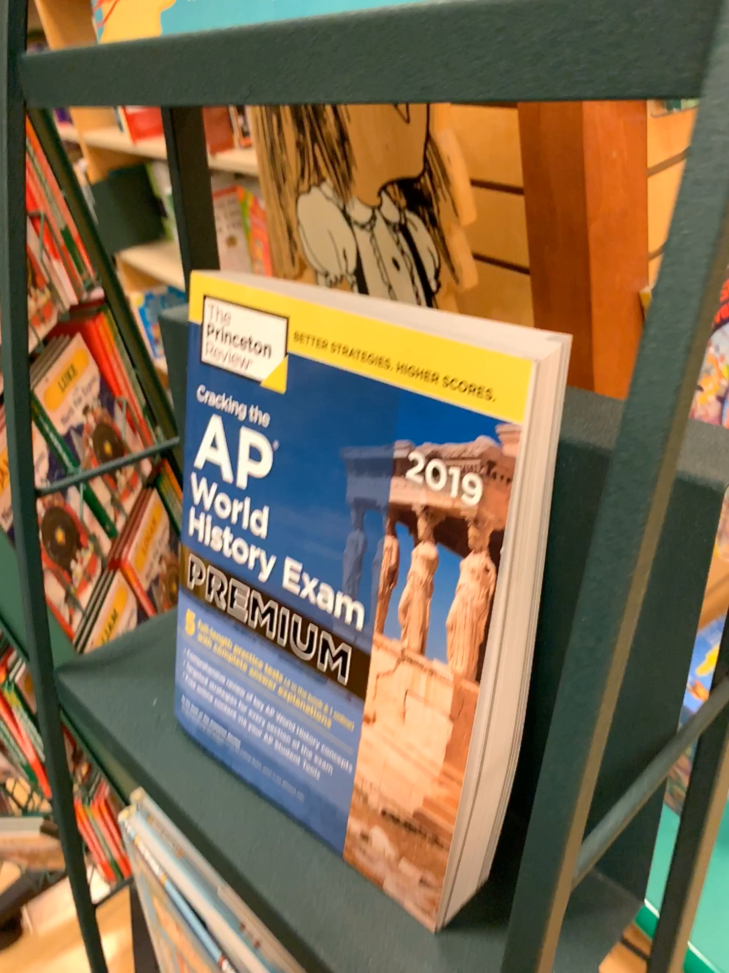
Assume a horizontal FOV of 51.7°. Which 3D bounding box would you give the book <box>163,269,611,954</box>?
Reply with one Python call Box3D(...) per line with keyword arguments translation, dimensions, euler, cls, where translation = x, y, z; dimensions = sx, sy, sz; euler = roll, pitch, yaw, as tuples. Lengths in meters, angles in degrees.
Box3D(translation=(-0.016, 0.043, 0.378), dimensions=(0.215, 0.269, 0.057), euler=(22, 24, 40), cls="book")
